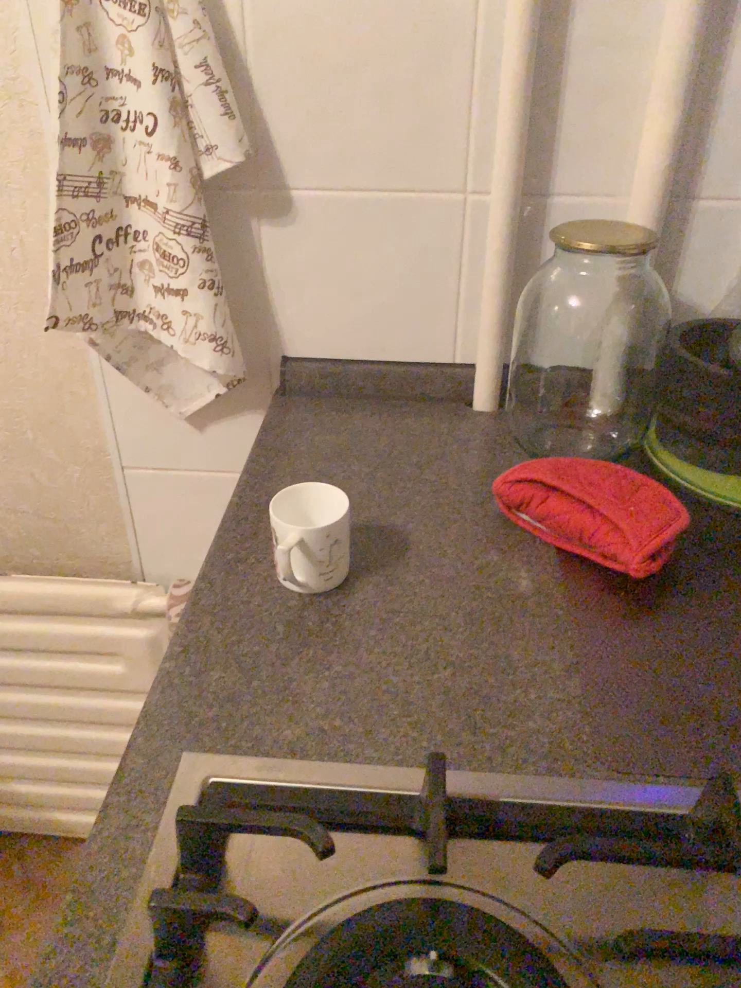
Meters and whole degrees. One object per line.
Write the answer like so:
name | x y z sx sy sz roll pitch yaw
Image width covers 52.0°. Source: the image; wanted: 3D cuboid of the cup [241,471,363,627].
cup | -0.047 0.038 0.557 0.060 0.069 0.081 10 34 15
